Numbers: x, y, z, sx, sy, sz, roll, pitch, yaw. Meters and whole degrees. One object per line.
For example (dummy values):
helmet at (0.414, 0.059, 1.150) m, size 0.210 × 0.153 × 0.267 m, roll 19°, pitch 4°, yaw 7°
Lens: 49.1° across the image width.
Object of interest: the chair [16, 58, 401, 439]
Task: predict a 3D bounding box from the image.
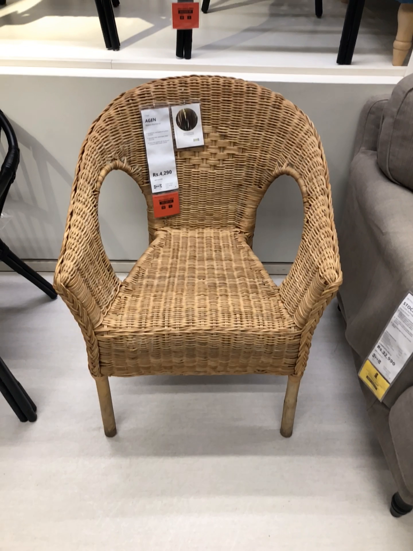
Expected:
chair at (-0.004, -0.053, 1.104) m, size 0.550 × 0.695 × 0.604 m, roll 1°, pitch 44°, yaw -1°
